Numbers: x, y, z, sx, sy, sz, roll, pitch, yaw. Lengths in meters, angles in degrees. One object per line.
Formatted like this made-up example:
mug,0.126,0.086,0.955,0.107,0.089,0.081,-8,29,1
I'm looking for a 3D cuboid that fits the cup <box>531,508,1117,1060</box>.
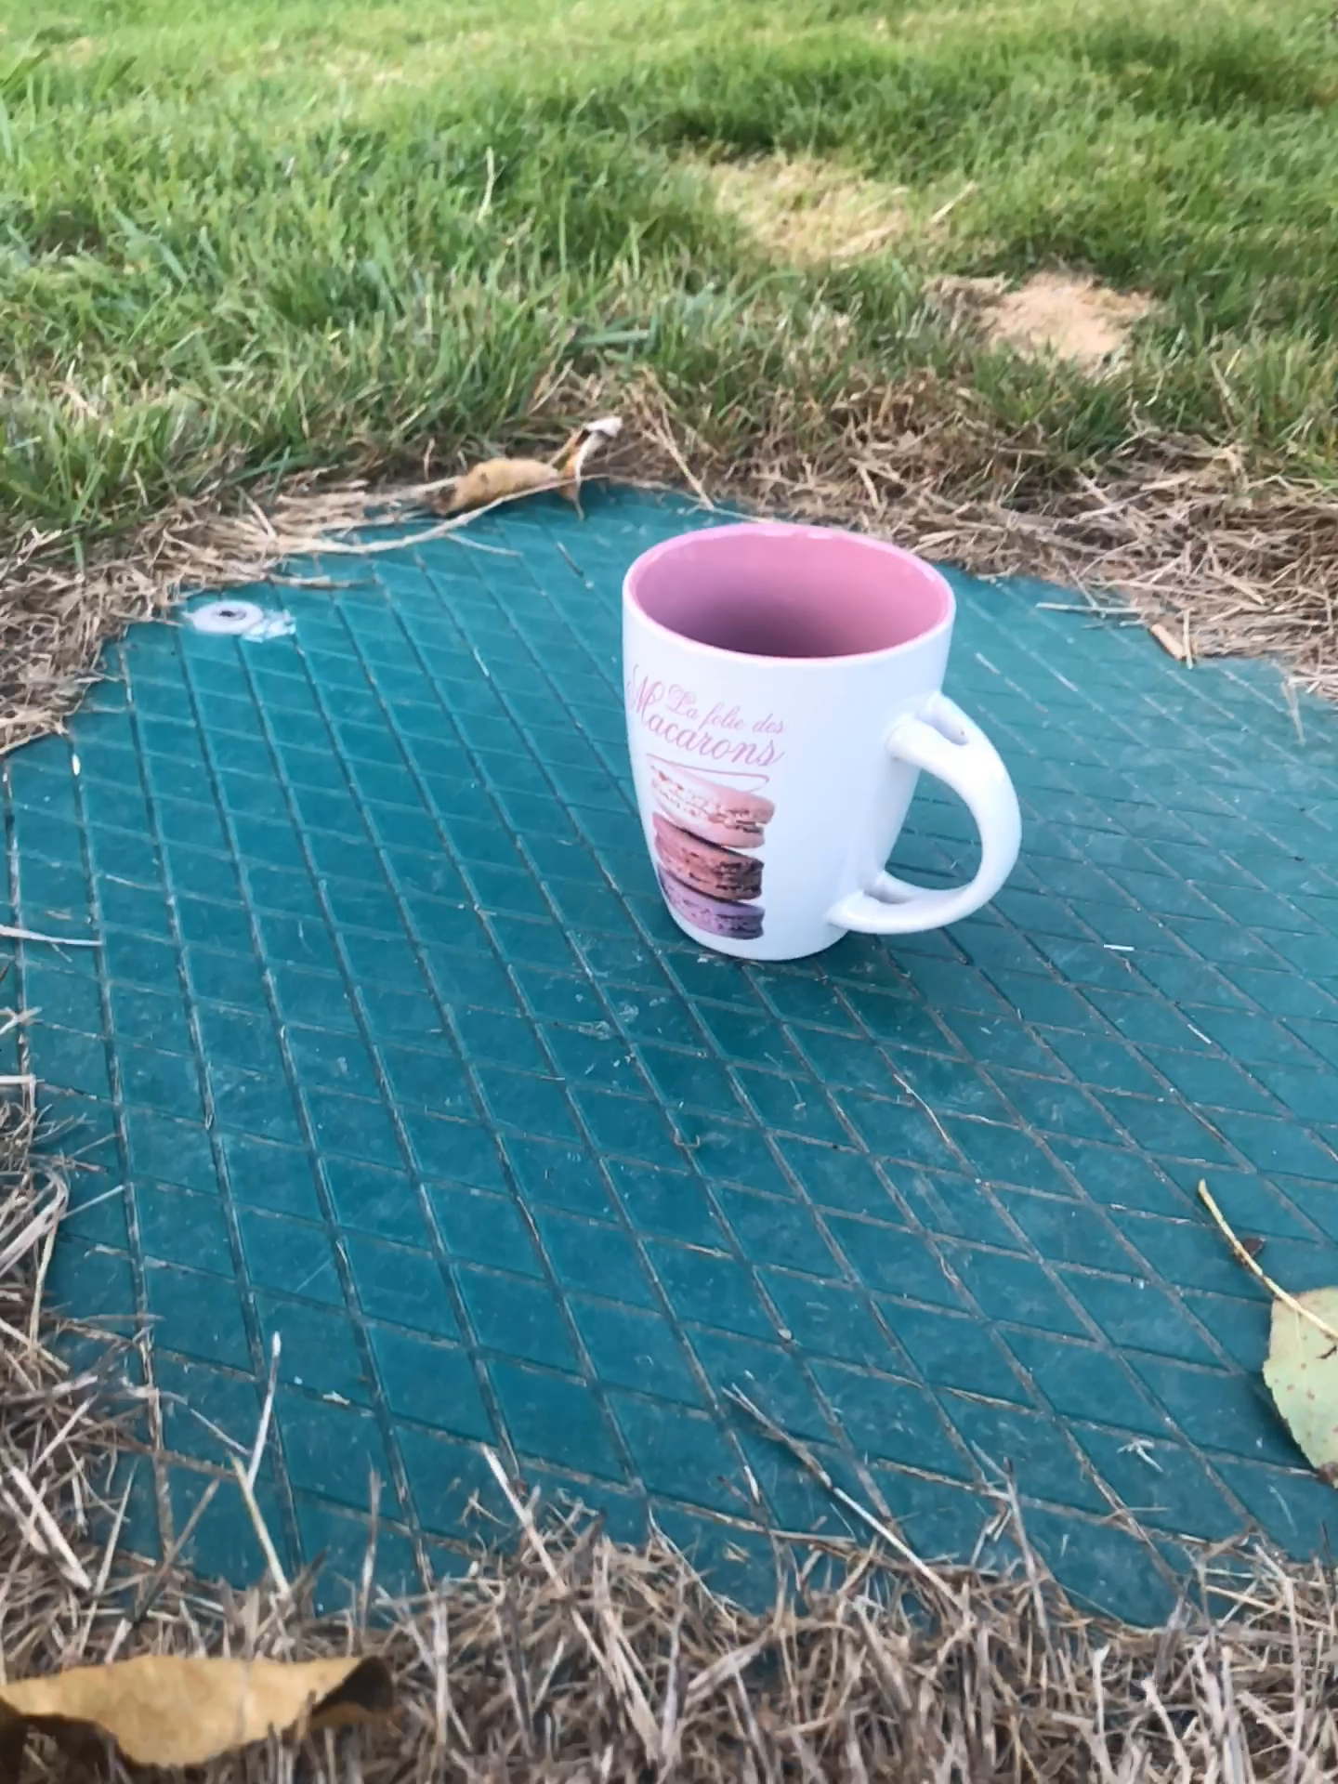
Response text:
cup,0.041,-0.037,0.408,0.121,0.091,0.095,22,39,29
